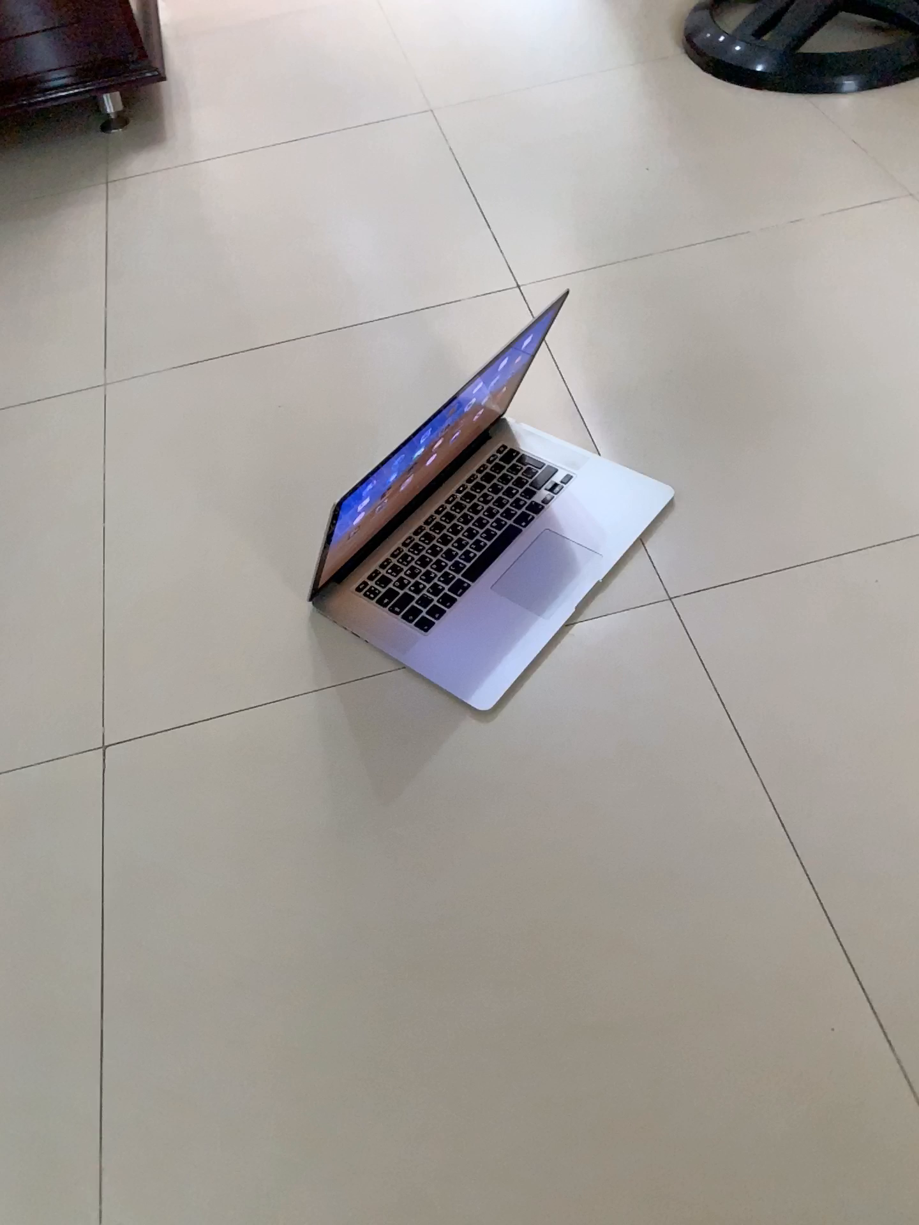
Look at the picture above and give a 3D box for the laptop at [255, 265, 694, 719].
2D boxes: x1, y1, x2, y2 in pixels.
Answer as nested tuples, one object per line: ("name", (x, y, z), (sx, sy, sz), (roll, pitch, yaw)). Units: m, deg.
("laptop", (0.031, -0.135, 0.952), (0.242, 0.207, 0.360), (30, 61, 27))
